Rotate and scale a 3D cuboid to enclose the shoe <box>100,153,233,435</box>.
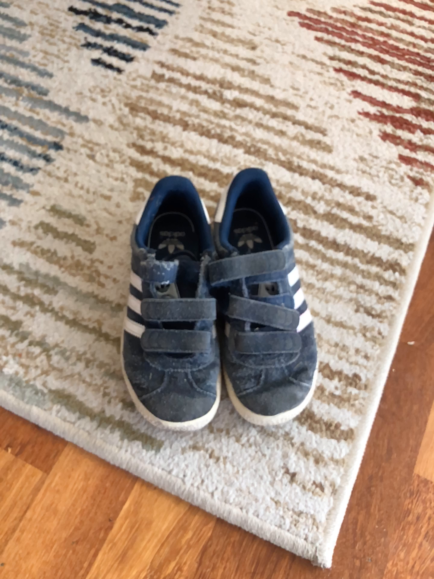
[{"bbox_3d":[-0.037,-0.004,0.377,0.084,0.053,0.217,-1,64,-3],"label":"shoe"}]

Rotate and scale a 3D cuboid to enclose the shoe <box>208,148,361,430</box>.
[{"bbox_3d":[0.043,-0.008,0.382,0.086,0.052,0.219,-2,64,-4],"label":"shoe"}]
